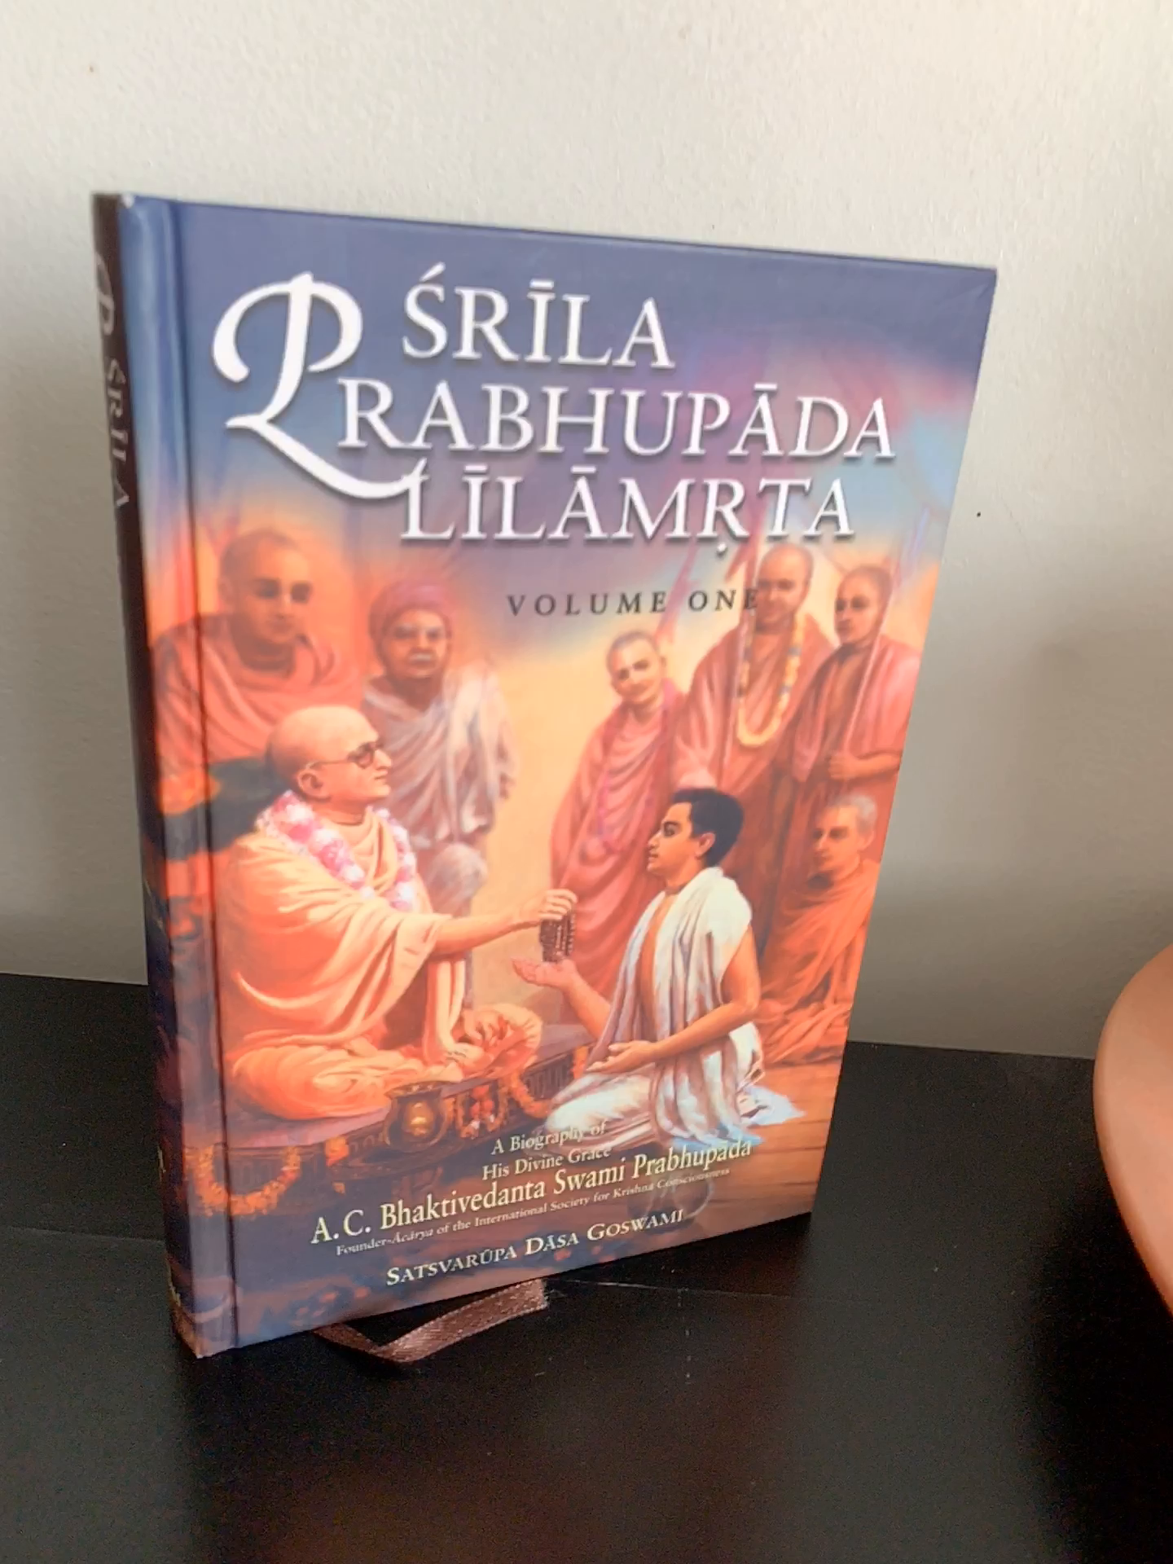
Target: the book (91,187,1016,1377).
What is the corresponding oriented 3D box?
[{"bbox_3d":[-0.009,0.011,0.259,0.162,0.233,0.030,-4,25,-20],"label":"book"}]
